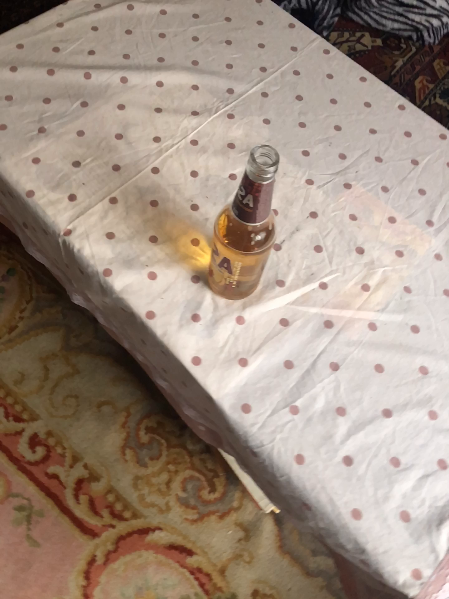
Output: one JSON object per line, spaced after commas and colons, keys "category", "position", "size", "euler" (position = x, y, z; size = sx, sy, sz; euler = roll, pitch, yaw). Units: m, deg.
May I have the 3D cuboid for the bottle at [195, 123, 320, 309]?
{"category": "bottle", "position": [0.021, -0.073, 0.512], "size": [0.080, 0.209, 0.080], "euler": [3, 65, -6]}
